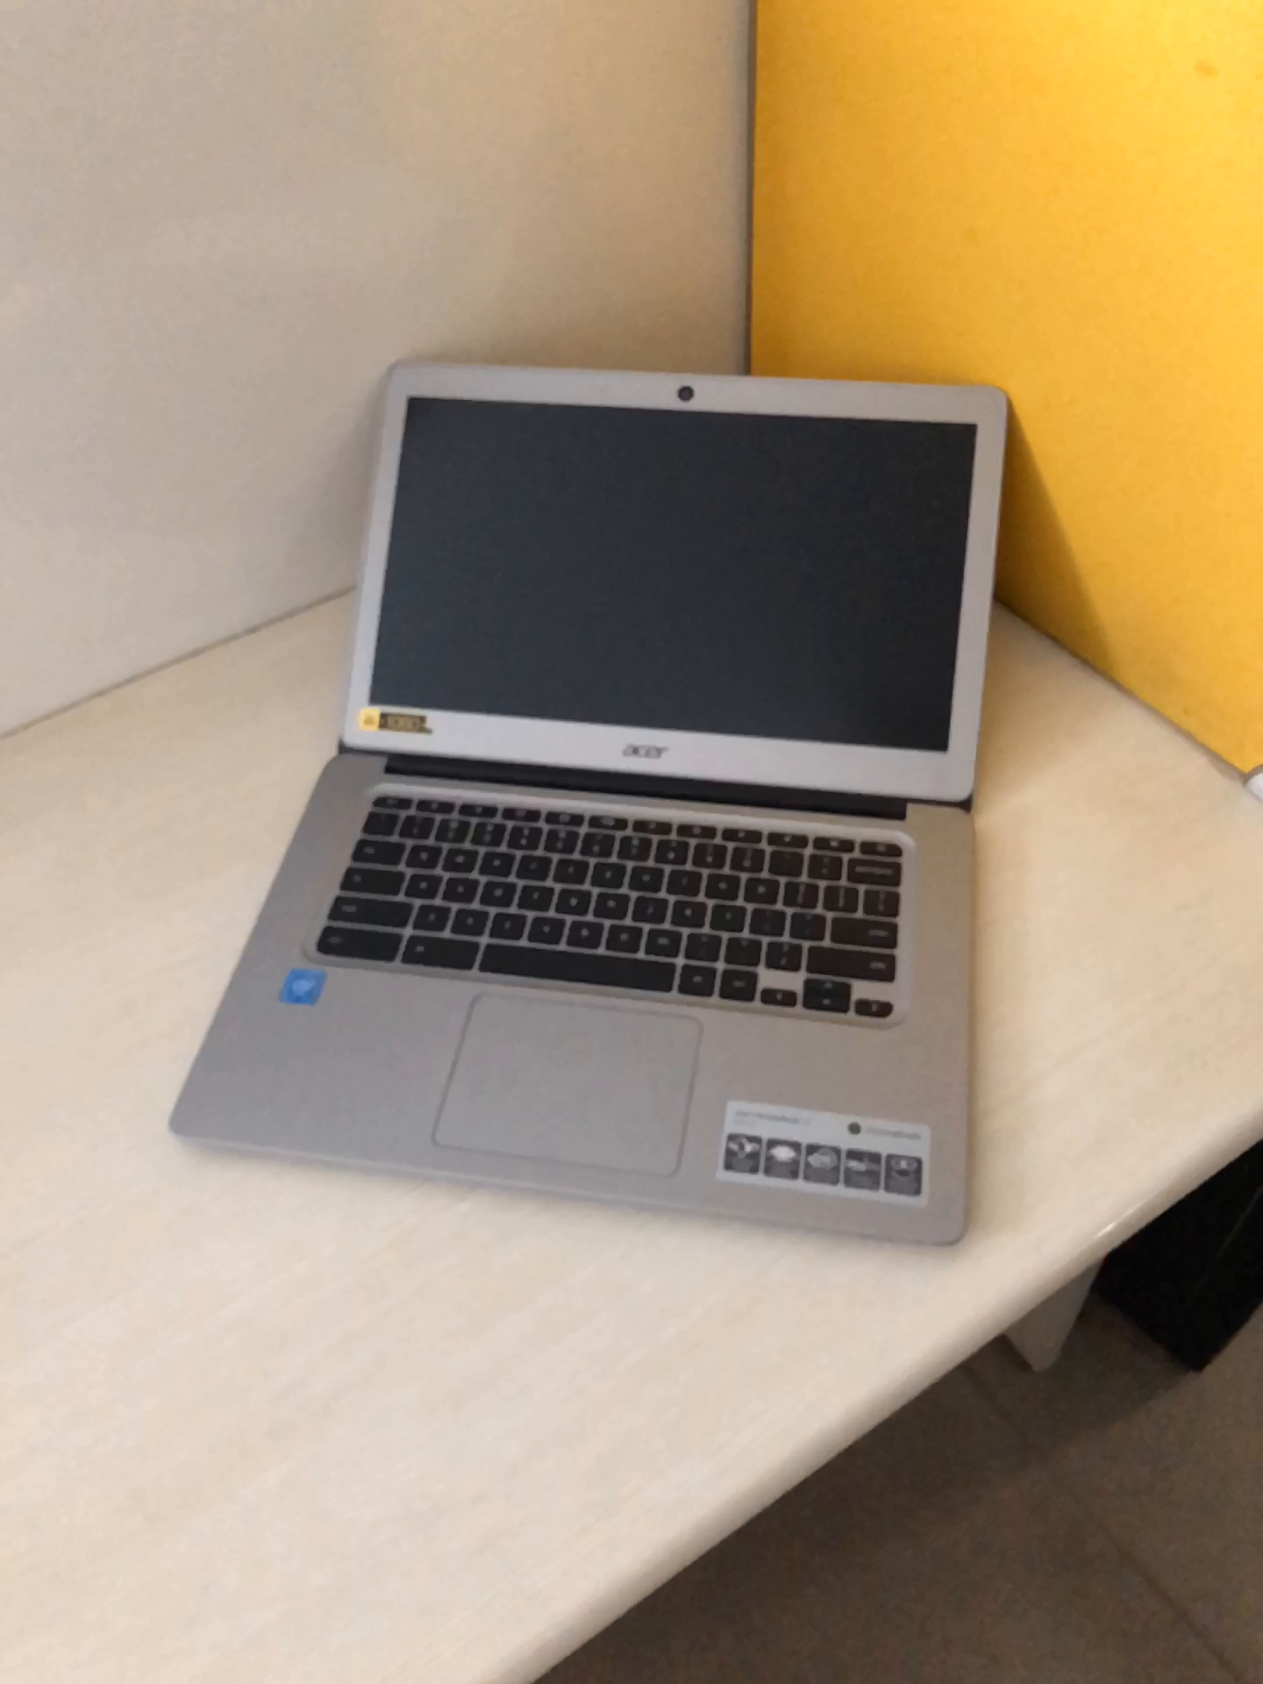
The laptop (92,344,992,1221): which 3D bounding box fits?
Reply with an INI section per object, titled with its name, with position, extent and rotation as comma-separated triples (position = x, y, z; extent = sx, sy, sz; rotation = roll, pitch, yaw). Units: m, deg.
[laptop]
position = -0.004, -0.061, 0.668
extent = 0.319, 0.123, 0.411
rotation = 6, 51, 9
